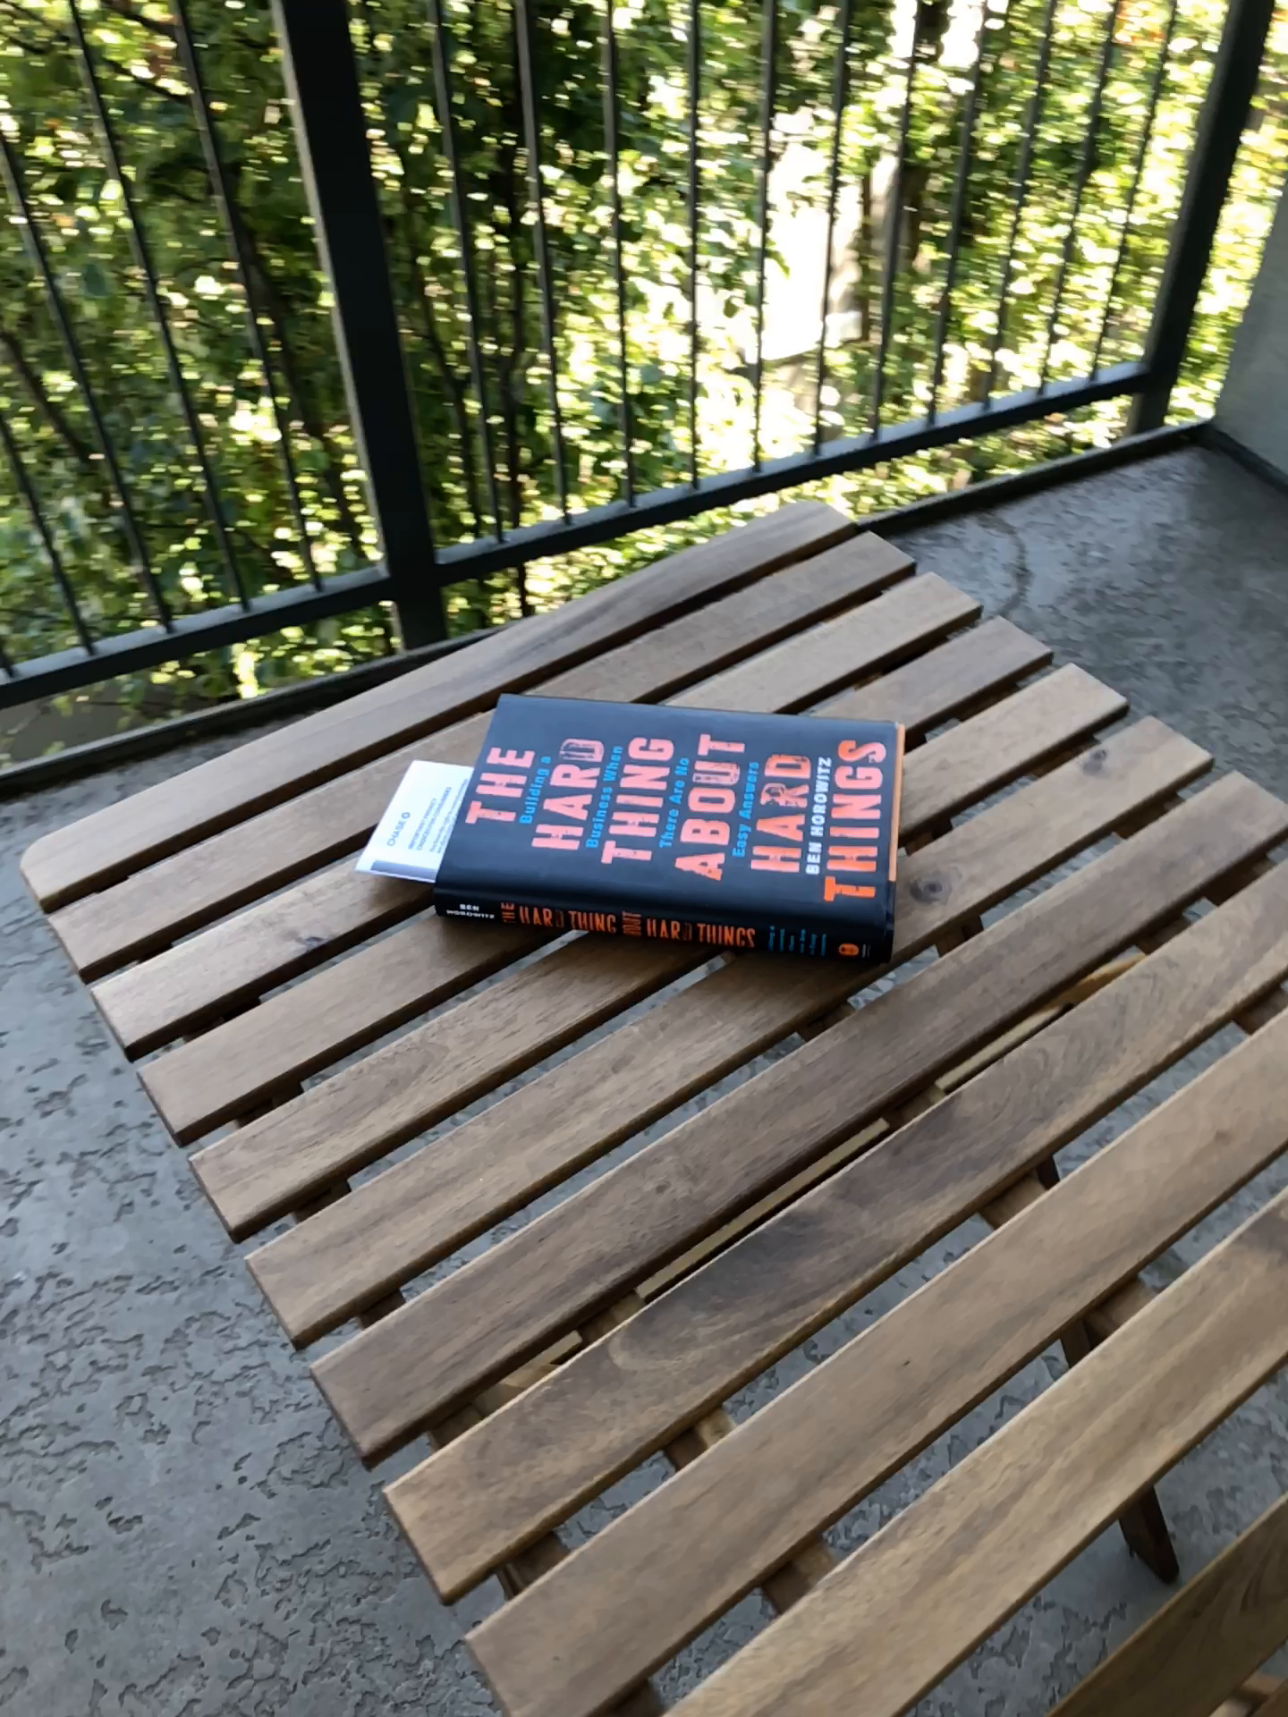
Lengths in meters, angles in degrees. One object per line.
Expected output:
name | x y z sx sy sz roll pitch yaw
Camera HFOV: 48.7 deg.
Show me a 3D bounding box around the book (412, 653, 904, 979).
book | 0.016 -0.030 0.784 0.240 0.040 0.181 6 47 7
